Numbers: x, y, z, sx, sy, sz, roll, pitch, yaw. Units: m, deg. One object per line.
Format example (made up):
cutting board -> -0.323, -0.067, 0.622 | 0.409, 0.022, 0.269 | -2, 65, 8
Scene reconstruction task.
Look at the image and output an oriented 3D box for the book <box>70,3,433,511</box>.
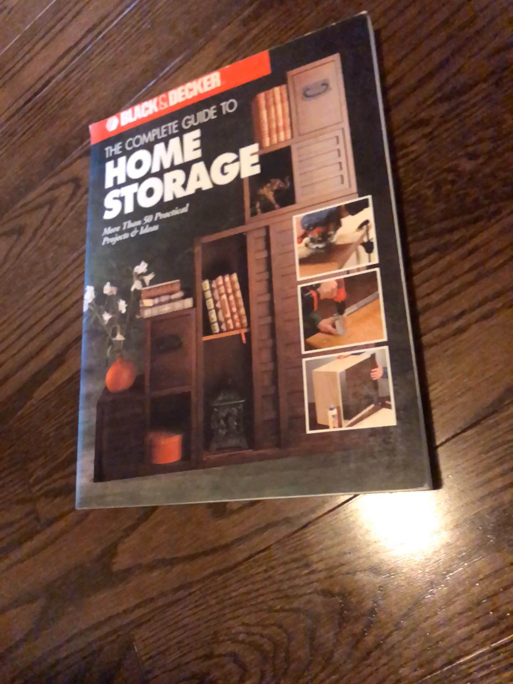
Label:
book -> -0.021, -0.049, 0.359 | 0.215, 0.020, 0.287 | -11, 72, 24
